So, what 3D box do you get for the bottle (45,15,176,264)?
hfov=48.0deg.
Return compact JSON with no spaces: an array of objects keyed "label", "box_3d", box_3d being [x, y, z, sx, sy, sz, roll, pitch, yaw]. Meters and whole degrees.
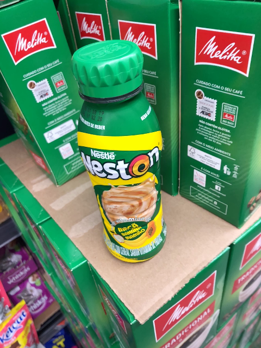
[{"label":"bottle","box_3d":[0.000,-0.013,0.224,0.060,0.179,0.060,-5,38,4]}]
